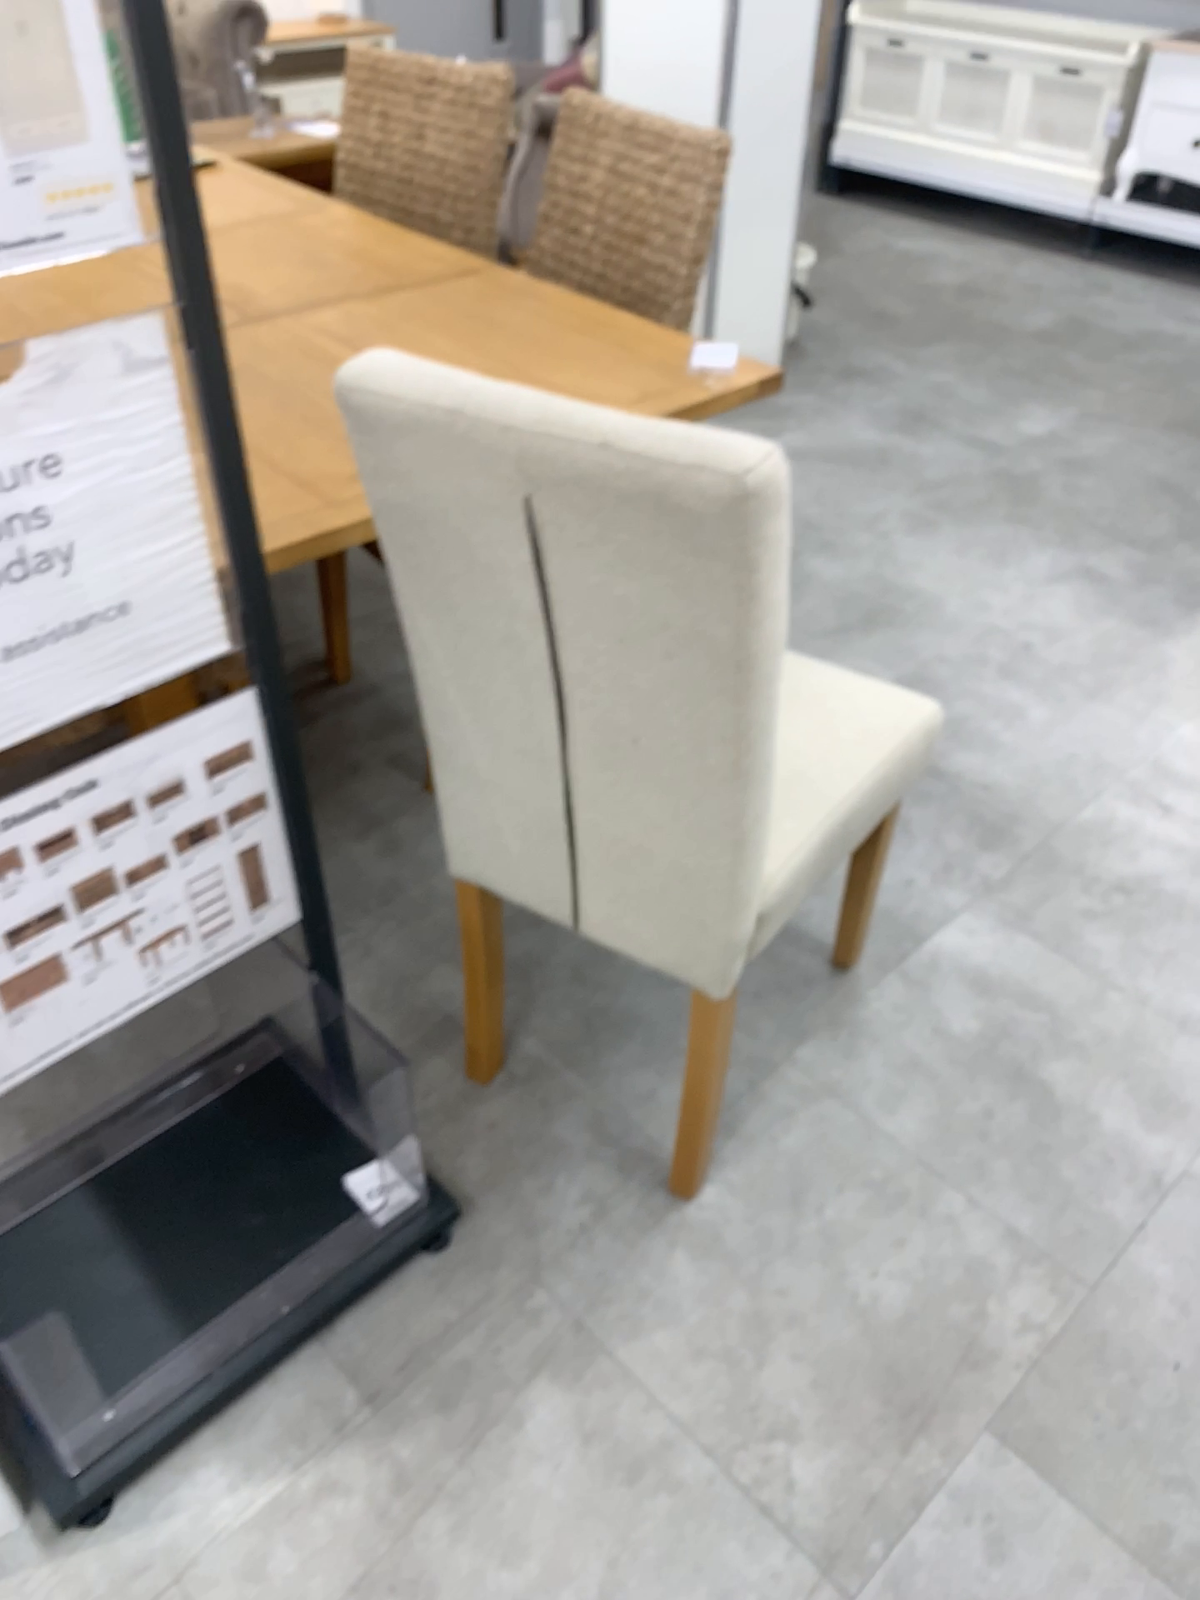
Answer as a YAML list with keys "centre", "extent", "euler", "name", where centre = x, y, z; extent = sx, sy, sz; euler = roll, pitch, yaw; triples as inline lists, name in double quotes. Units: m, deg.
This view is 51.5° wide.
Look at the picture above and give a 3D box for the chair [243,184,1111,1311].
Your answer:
- centre: [0.089, -0.065, 1.313]
  extent: [0.480, 0.896, 0.614]
  euler: [23, 43, 24]
  name: "chair"
